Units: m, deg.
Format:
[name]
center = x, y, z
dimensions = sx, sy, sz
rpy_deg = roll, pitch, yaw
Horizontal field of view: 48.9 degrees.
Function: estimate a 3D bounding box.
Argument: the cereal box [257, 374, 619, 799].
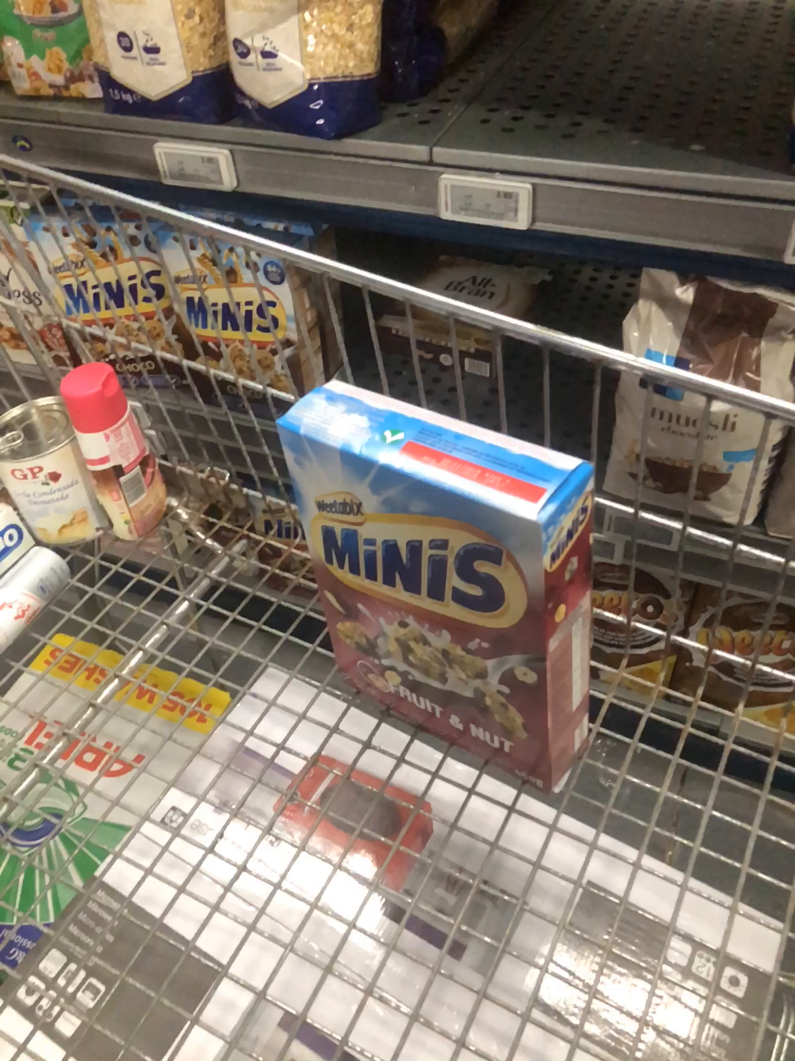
[cereal box]
center = 0.034, 0.043, 0.634
dimensions = 0.220, 0.259, 0.080
rpy_deg = 22, 50, 30
